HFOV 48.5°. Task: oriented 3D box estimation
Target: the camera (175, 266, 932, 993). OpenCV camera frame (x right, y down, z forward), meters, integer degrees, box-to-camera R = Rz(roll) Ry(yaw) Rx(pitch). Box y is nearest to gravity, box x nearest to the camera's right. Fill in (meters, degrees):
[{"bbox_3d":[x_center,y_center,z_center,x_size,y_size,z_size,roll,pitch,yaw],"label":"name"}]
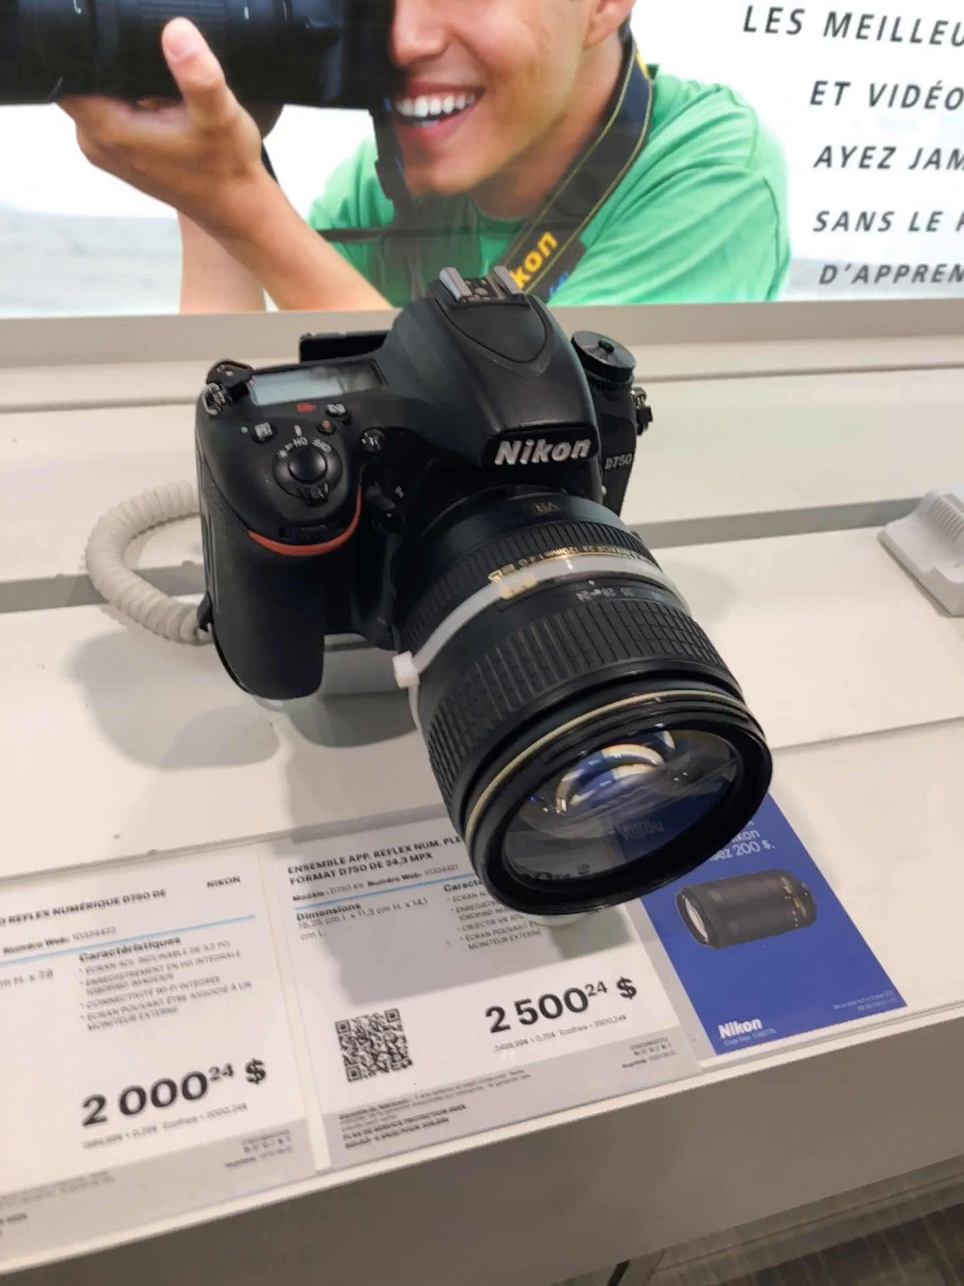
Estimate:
[{"bbox_3d":[-0.002,-0.023,0.309,0.138,0.099,0.184,-8,42,-19],"label":"camera"}]
